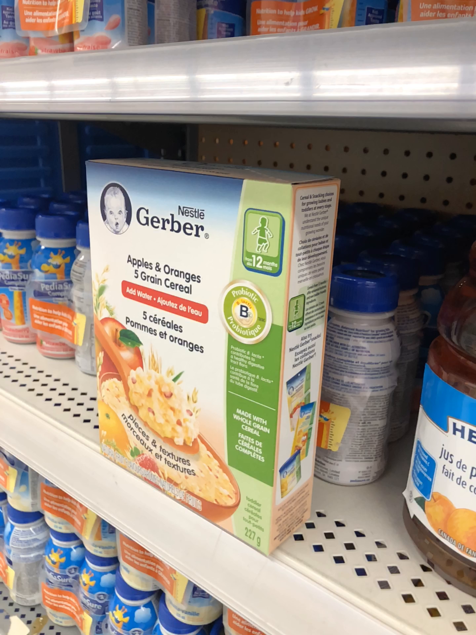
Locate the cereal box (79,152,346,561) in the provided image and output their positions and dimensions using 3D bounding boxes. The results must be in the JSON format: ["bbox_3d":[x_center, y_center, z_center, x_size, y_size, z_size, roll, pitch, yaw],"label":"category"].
[{"bbox_3d":[-0.023,0.013,0.308,0.140,0.199,0.050,17,24,35],"label":"cereal box"}]
